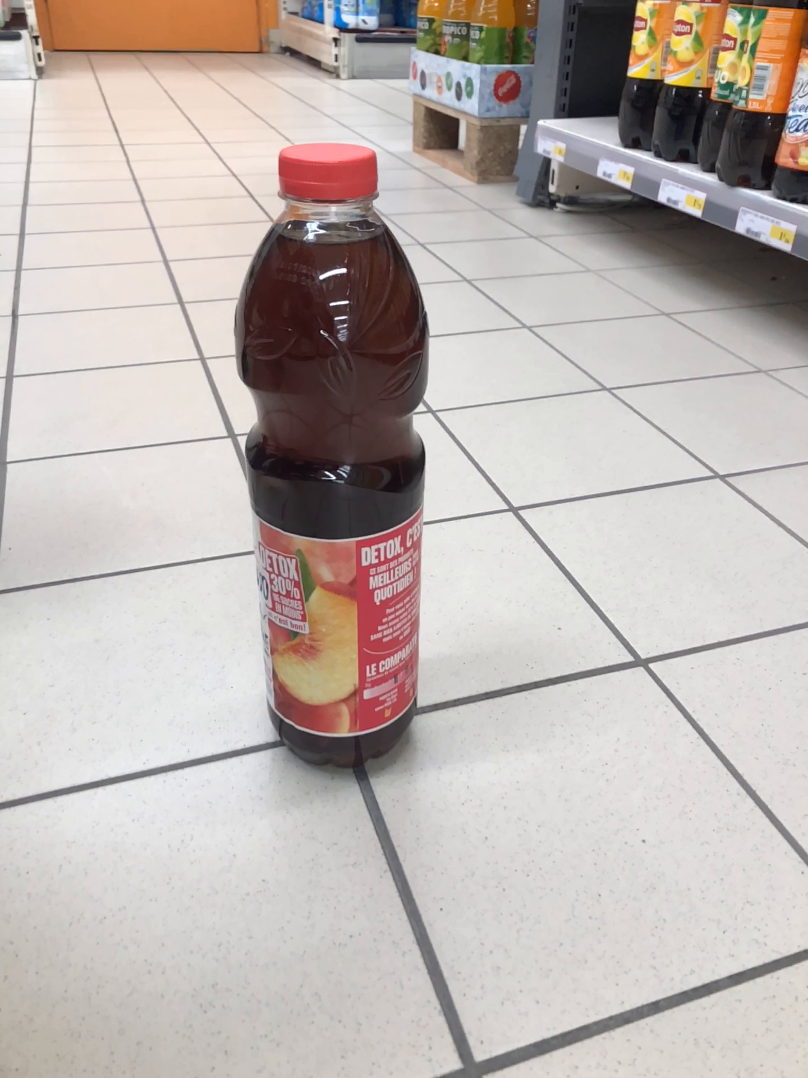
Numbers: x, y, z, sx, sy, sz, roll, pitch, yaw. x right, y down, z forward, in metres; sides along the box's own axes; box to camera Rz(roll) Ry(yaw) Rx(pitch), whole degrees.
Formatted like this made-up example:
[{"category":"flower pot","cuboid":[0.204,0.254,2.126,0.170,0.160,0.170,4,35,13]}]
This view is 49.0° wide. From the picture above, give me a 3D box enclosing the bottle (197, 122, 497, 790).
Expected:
[{"category":"bottle","cuboid":[-0.029,-0.030,0.414,0.090,0.288,0.090,1,31,-1]}]
